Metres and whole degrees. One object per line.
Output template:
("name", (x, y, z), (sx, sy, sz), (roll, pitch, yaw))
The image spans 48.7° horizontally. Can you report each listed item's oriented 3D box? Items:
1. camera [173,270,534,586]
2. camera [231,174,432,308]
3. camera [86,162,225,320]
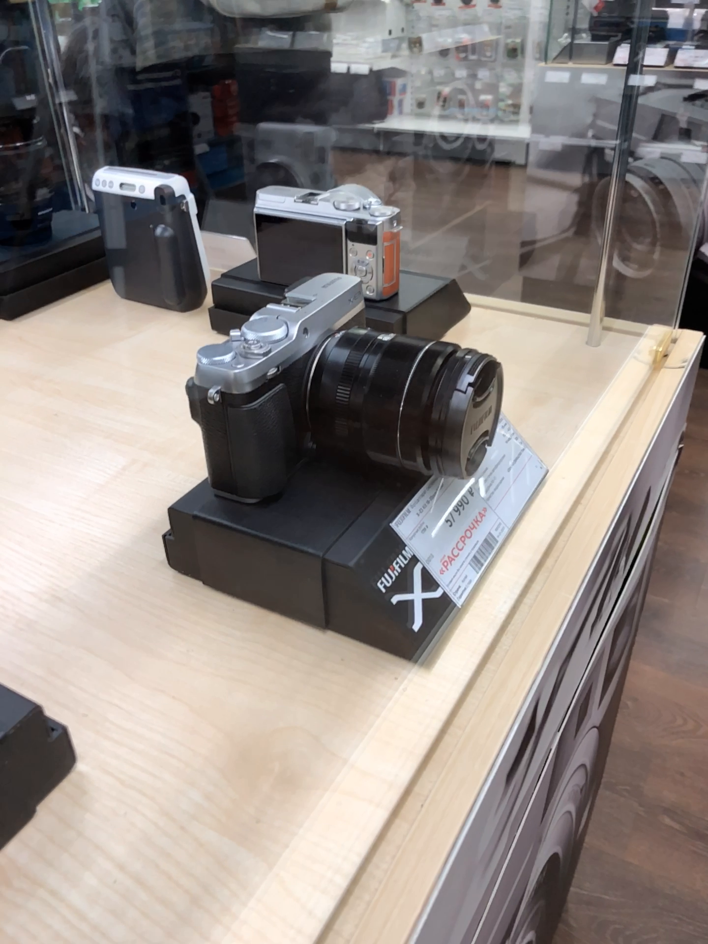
("camera", (0.006, -0.032, 0.377), (0.115, 0.080, 0.132), (15, 36, 25))
("camera", (-0.016, -0.184, 0.609), (0.131, 0.068, 0.077), (17, 37, 26))
("camera", (-0.164, -0.195, 0.656), (0.088, 0.109, 0.045), (17, 39, 27))
